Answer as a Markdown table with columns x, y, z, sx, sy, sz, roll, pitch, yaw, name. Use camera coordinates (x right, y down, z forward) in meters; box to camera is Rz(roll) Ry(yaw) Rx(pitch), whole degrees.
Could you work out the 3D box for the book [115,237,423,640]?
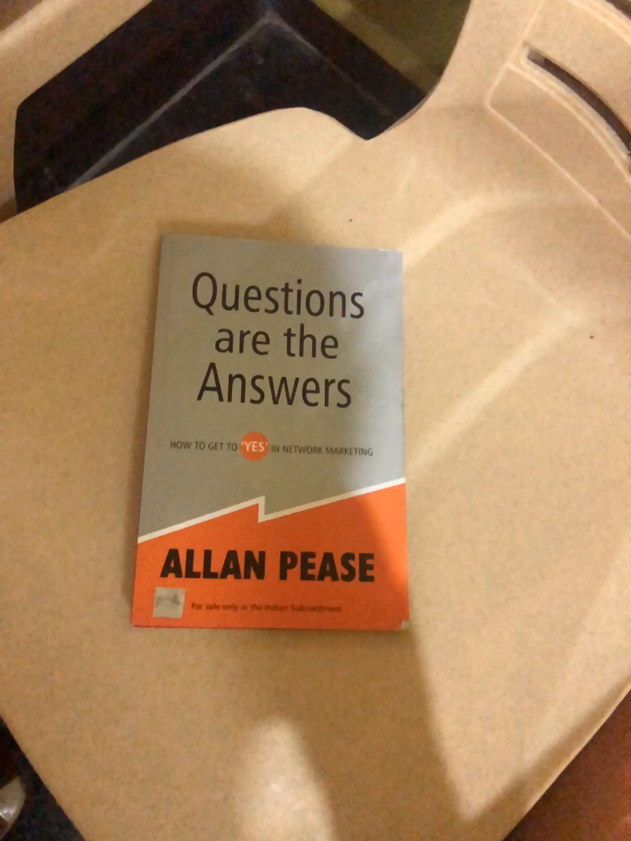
| x | y | z | sx | sy | sz | roll | pitch | yaw | name |
| --- | --- | --- | --- | --- | --- | --- | --- | --- | --- |
| -0.020 | 0.006 | 0.375 | 0.150 | 0.020 | 0.210 | 2 | 77 | -3 | book |
